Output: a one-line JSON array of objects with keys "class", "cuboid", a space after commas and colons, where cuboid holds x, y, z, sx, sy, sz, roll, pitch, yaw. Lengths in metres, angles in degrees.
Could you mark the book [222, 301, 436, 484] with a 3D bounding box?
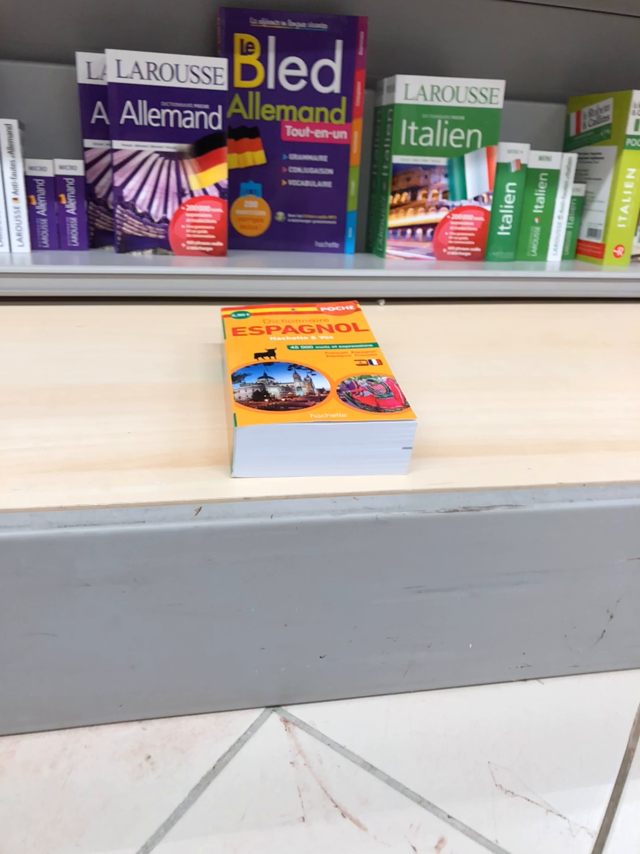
[{"class": "book", "cuboid": [-0.006, -0.034, 0.488, 0.117, 0.040, 0.191, -2, 31, -9]}]
